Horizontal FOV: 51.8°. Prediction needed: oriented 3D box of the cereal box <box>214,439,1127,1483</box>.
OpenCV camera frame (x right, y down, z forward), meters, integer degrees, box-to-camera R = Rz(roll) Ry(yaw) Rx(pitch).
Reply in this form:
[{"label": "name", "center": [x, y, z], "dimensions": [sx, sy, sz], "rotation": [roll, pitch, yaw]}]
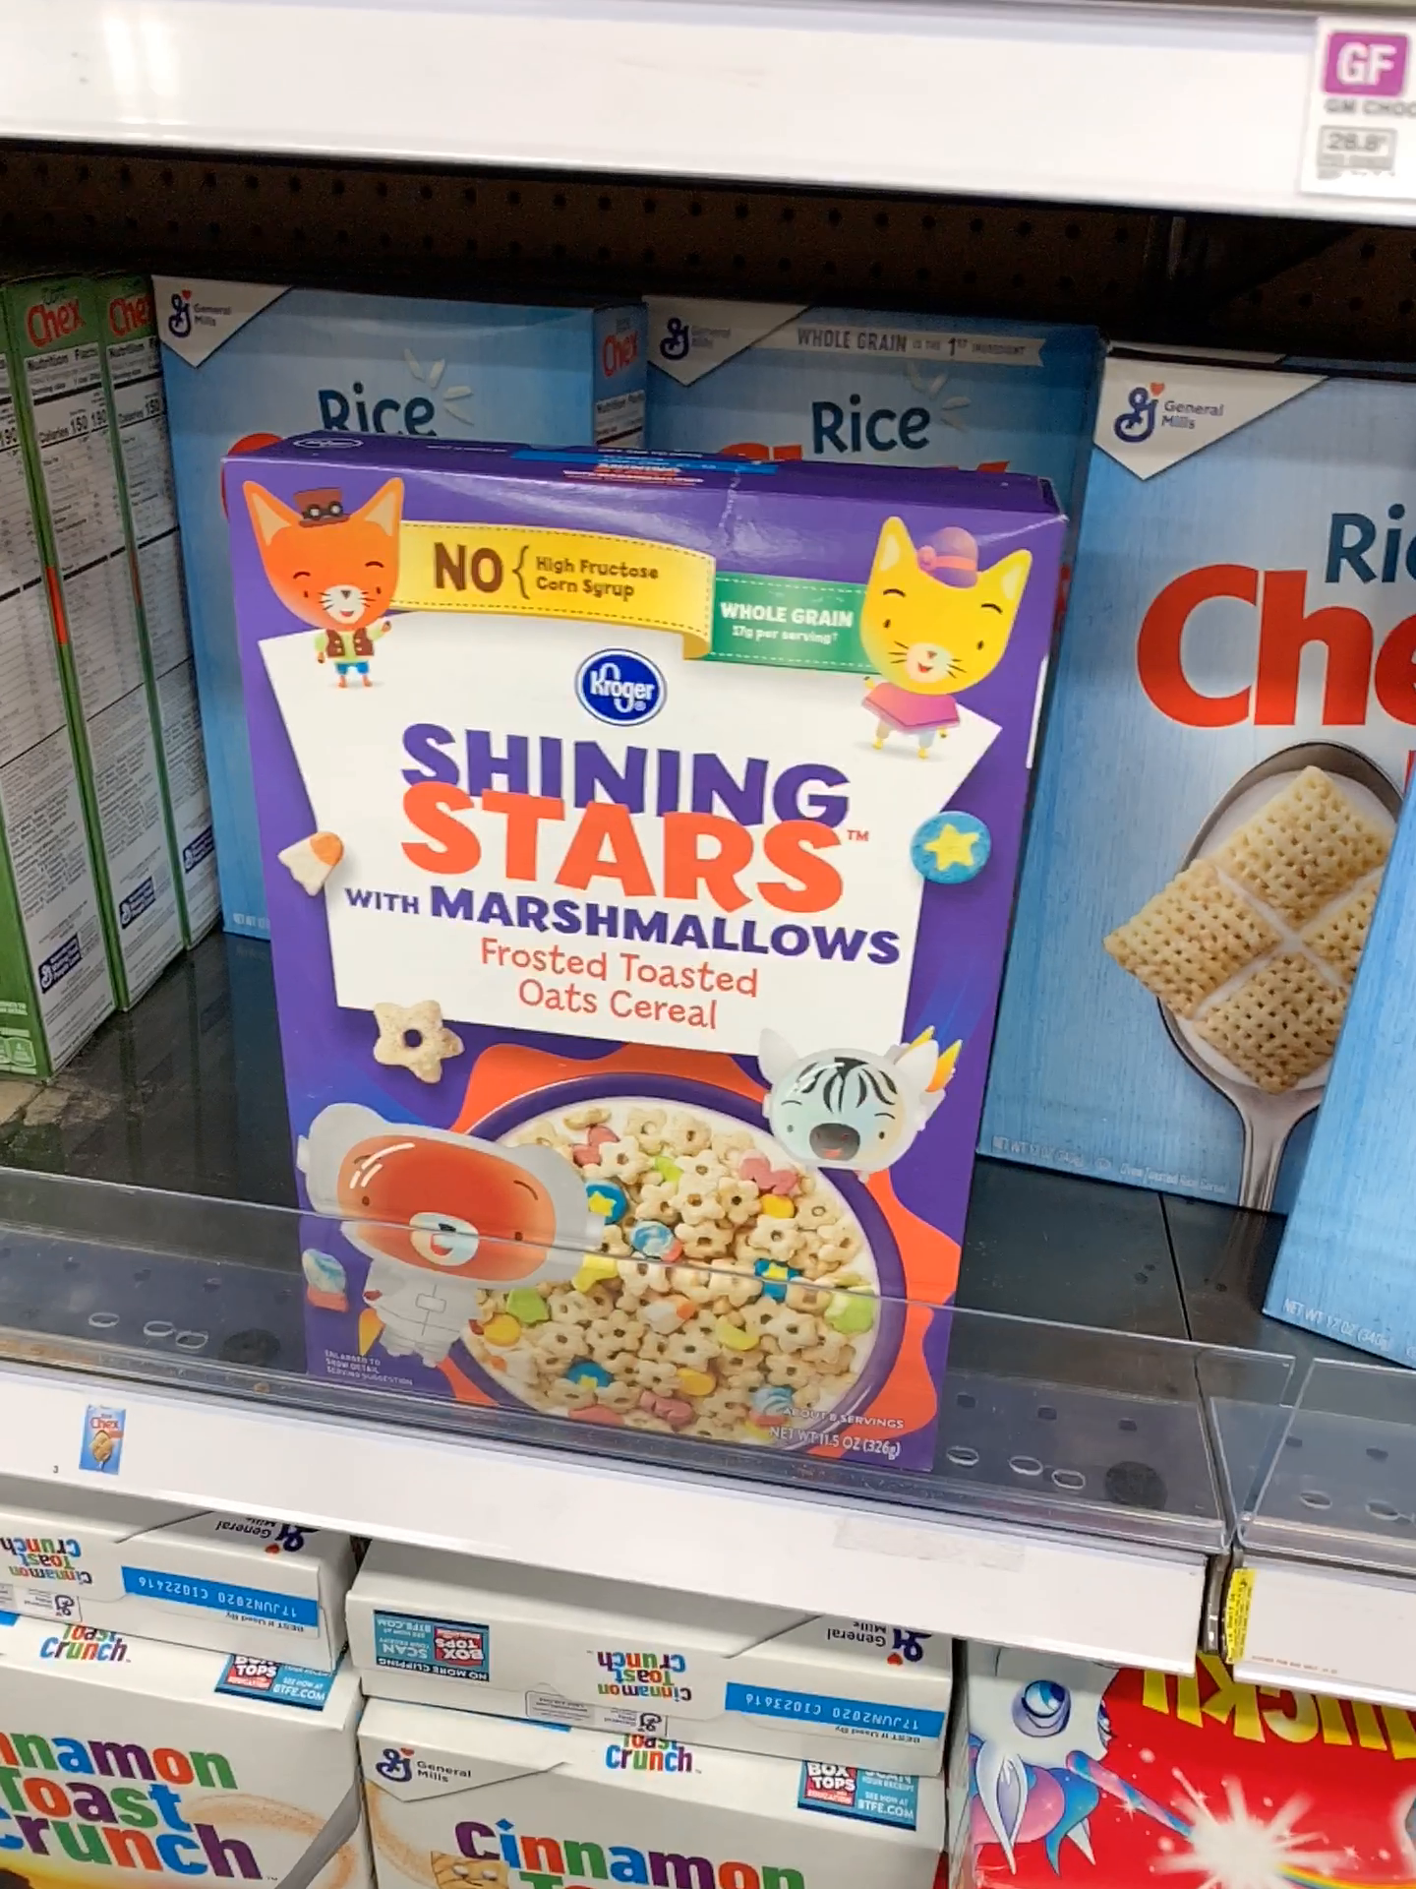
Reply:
[{"label": "cereal box", "center": [-0.013, 0.013, 0.394], "dimensions": [0.200, 0.269, 0.050], "rotation": [5, 25, 6]}]
